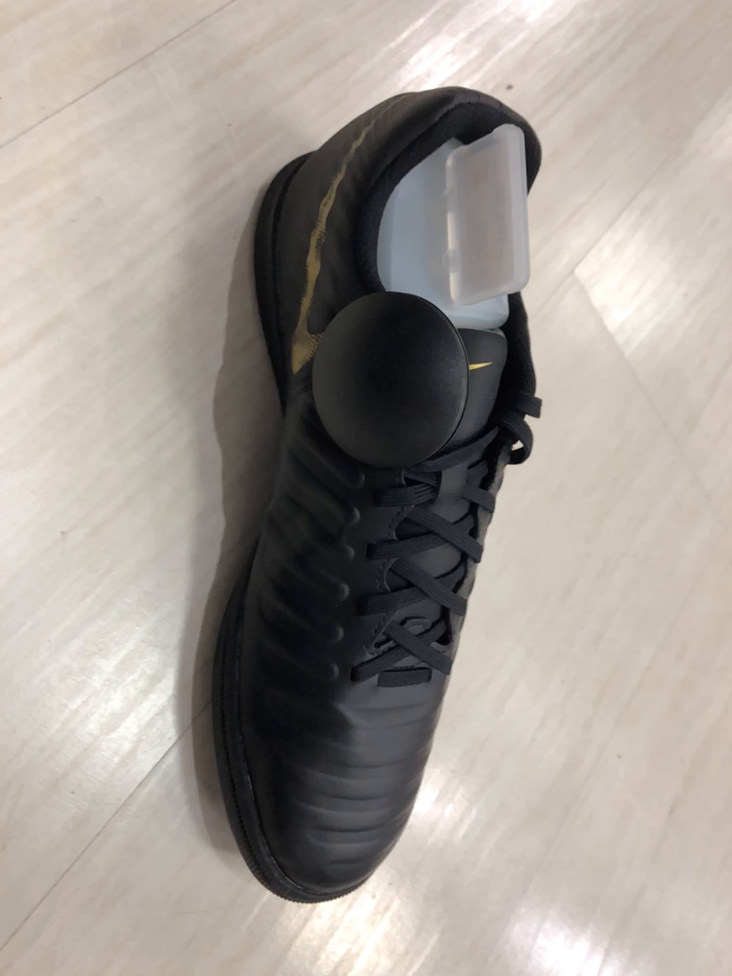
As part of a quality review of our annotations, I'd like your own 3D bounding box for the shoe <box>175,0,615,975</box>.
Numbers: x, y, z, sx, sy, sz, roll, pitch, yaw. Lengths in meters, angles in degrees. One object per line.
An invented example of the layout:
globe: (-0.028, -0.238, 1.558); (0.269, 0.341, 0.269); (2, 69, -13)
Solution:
shoe: (0.009, 0.005, 0.287); (0.101, 0.109, 0.290); (6, 83, -34)
